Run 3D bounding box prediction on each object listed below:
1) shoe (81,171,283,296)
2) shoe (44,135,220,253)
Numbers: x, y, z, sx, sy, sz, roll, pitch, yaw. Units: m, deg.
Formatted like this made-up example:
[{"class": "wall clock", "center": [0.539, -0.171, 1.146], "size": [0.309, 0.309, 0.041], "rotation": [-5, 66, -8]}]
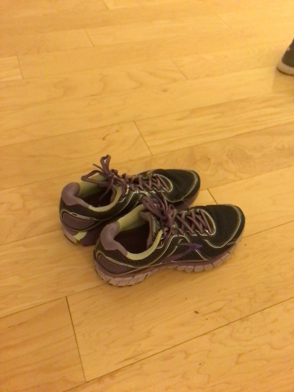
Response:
[{"class": "shoe", "center": [0.049, 0.054, 0.513], "size": [0.280, 0.079, 0.121], "rotation": [-11, 53, -12]}, {"class": "shoe", "center": [-0.026, -0.011, 0.569], "size": [0.271, 0.079, 0.121], "rotation": [-16, 54, -16]}]
